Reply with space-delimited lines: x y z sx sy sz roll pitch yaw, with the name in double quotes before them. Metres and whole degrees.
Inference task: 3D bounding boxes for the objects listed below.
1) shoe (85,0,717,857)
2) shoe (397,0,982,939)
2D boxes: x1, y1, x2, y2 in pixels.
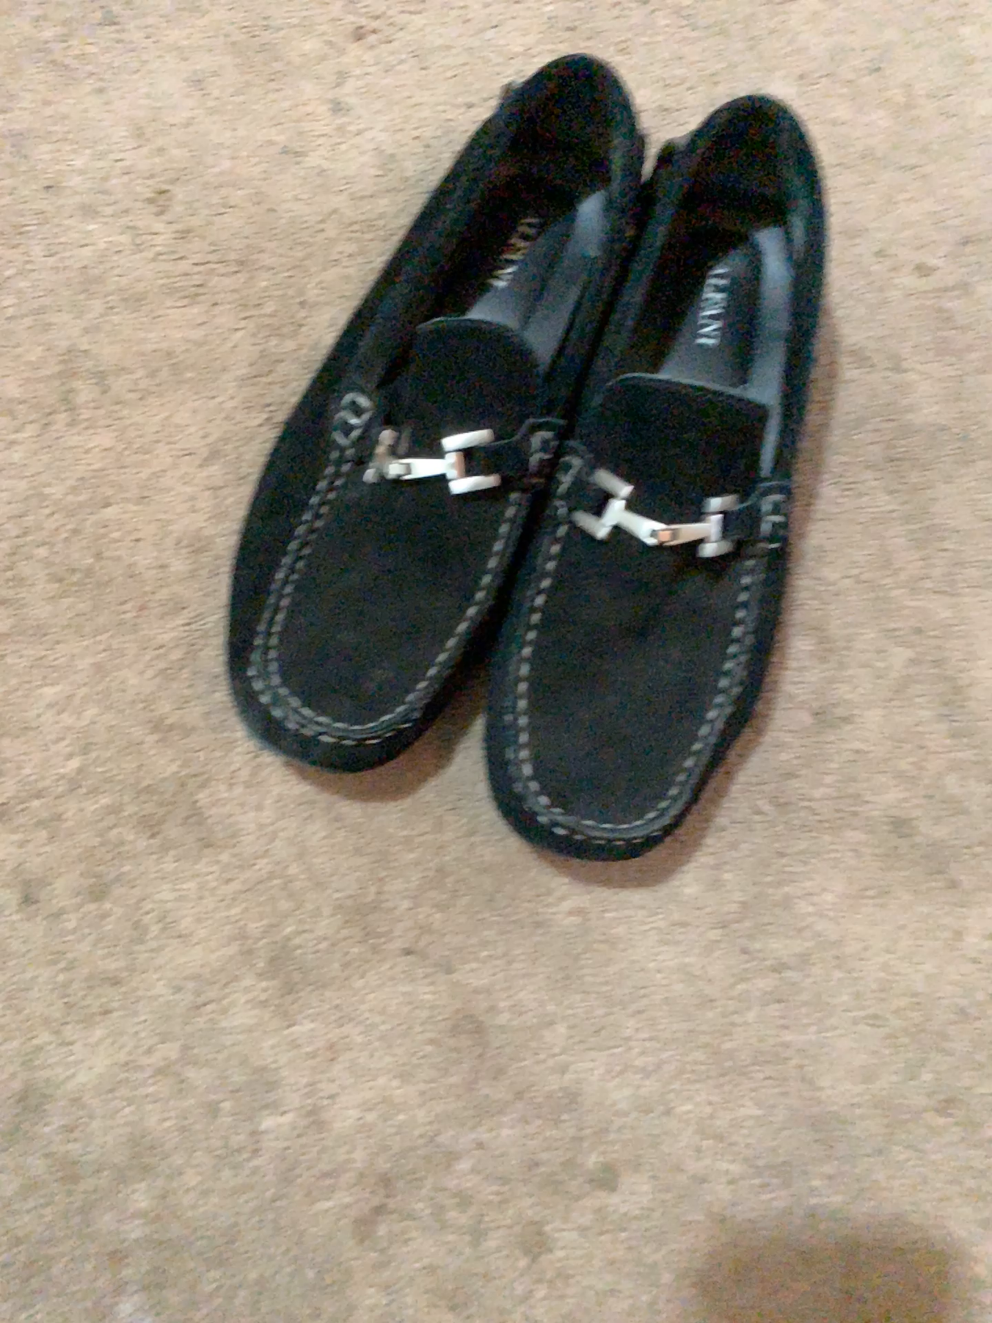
"shoe" -0.019 -0.099 0.365 0.100 0.100 0.311 17 75 3
"shoe" 0.068 -0.073 0.354 0.100 0.100 0.311 17 75 3
